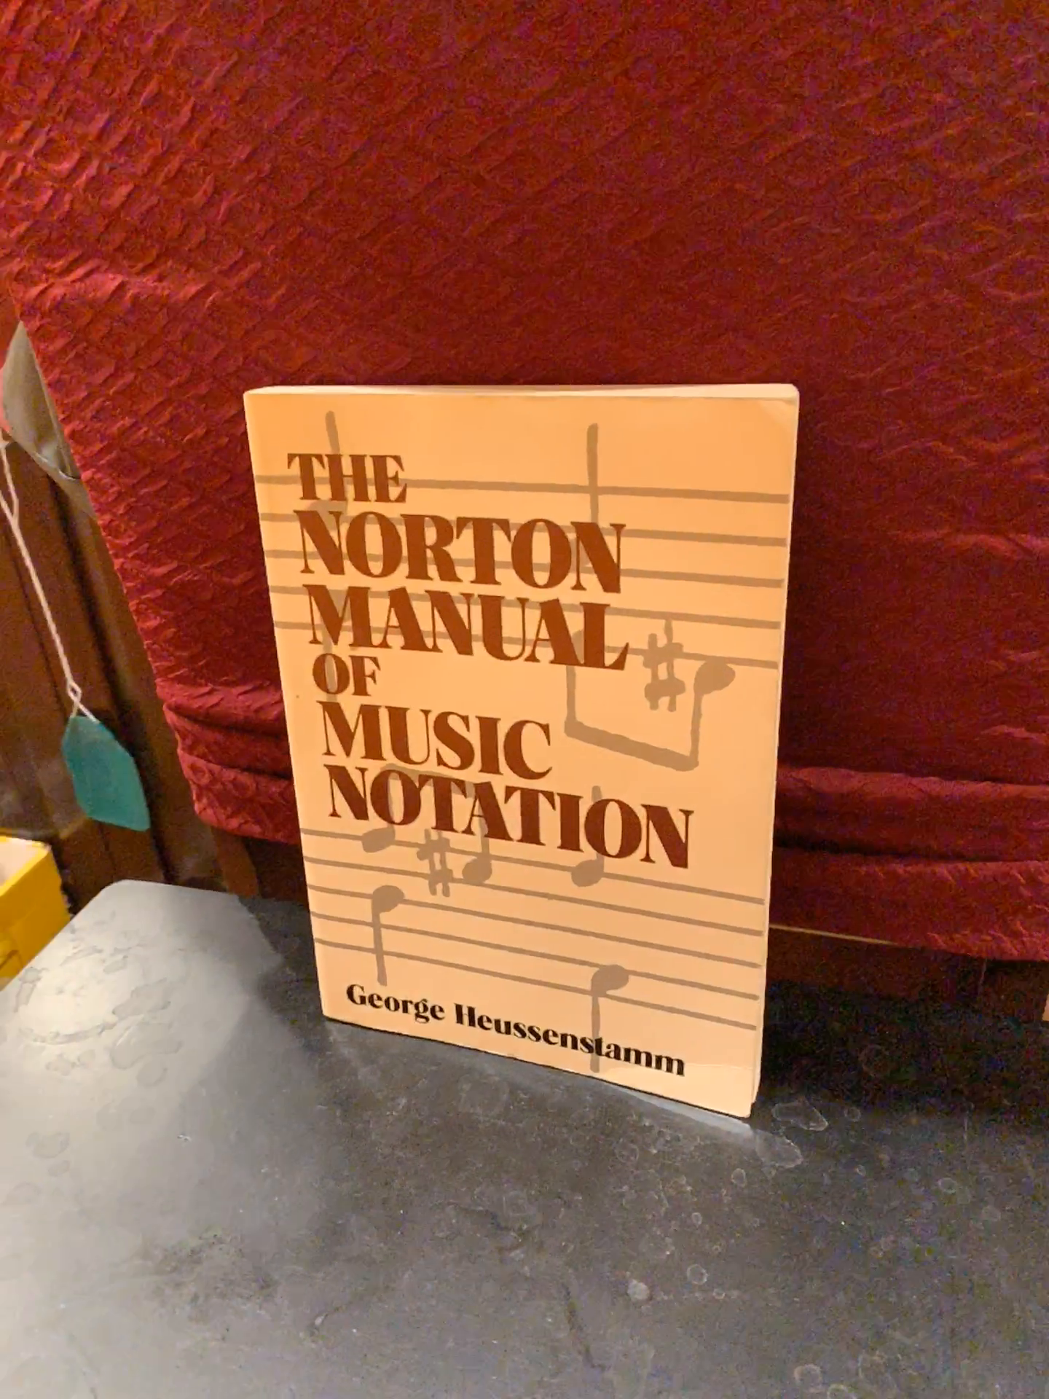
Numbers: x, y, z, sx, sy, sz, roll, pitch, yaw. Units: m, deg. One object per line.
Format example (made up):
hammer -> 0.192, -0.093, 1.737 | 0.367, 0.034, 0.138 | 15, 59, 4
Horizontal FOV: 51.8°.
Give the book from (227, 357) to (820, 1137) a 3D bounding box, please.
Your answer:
book -> 0.000, 0.018, 0.375 | 0.180, 0.259, 0.030 | 6, 24, 20
